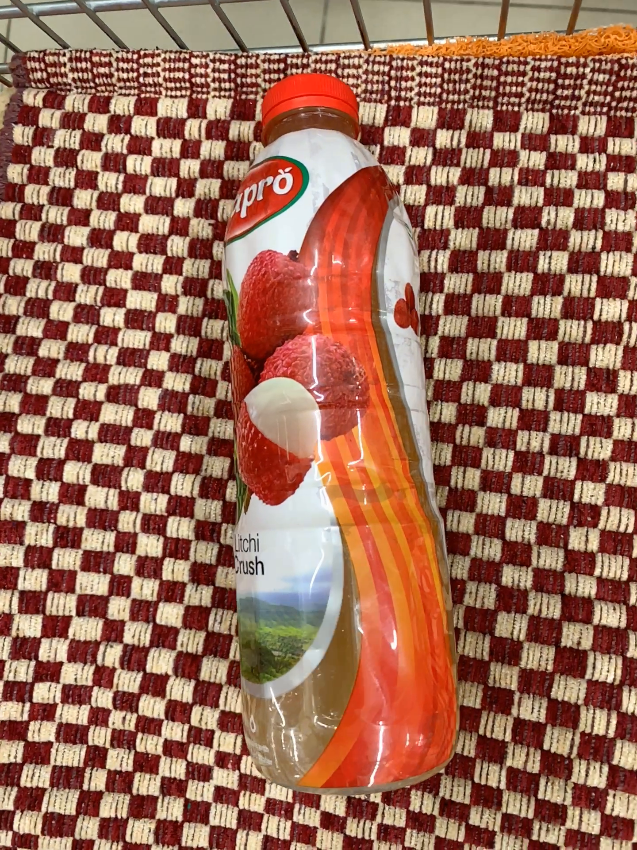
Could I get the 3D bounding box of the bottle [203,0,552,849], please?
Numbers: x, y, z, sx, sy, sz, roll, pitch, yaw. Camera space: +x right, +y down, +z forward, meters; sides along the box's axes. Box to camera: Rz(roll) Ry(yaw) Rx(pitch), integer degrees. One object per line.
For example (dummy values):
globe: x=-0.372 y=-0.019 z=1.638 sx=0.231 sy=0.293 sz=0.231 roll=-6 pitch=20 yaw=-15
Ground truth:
bottle: x=0.016 y=-0.007 z=0.230 sx=0.080 sy=0.070 sz=0.240 roll=0 pitch=84 yaw=-33
